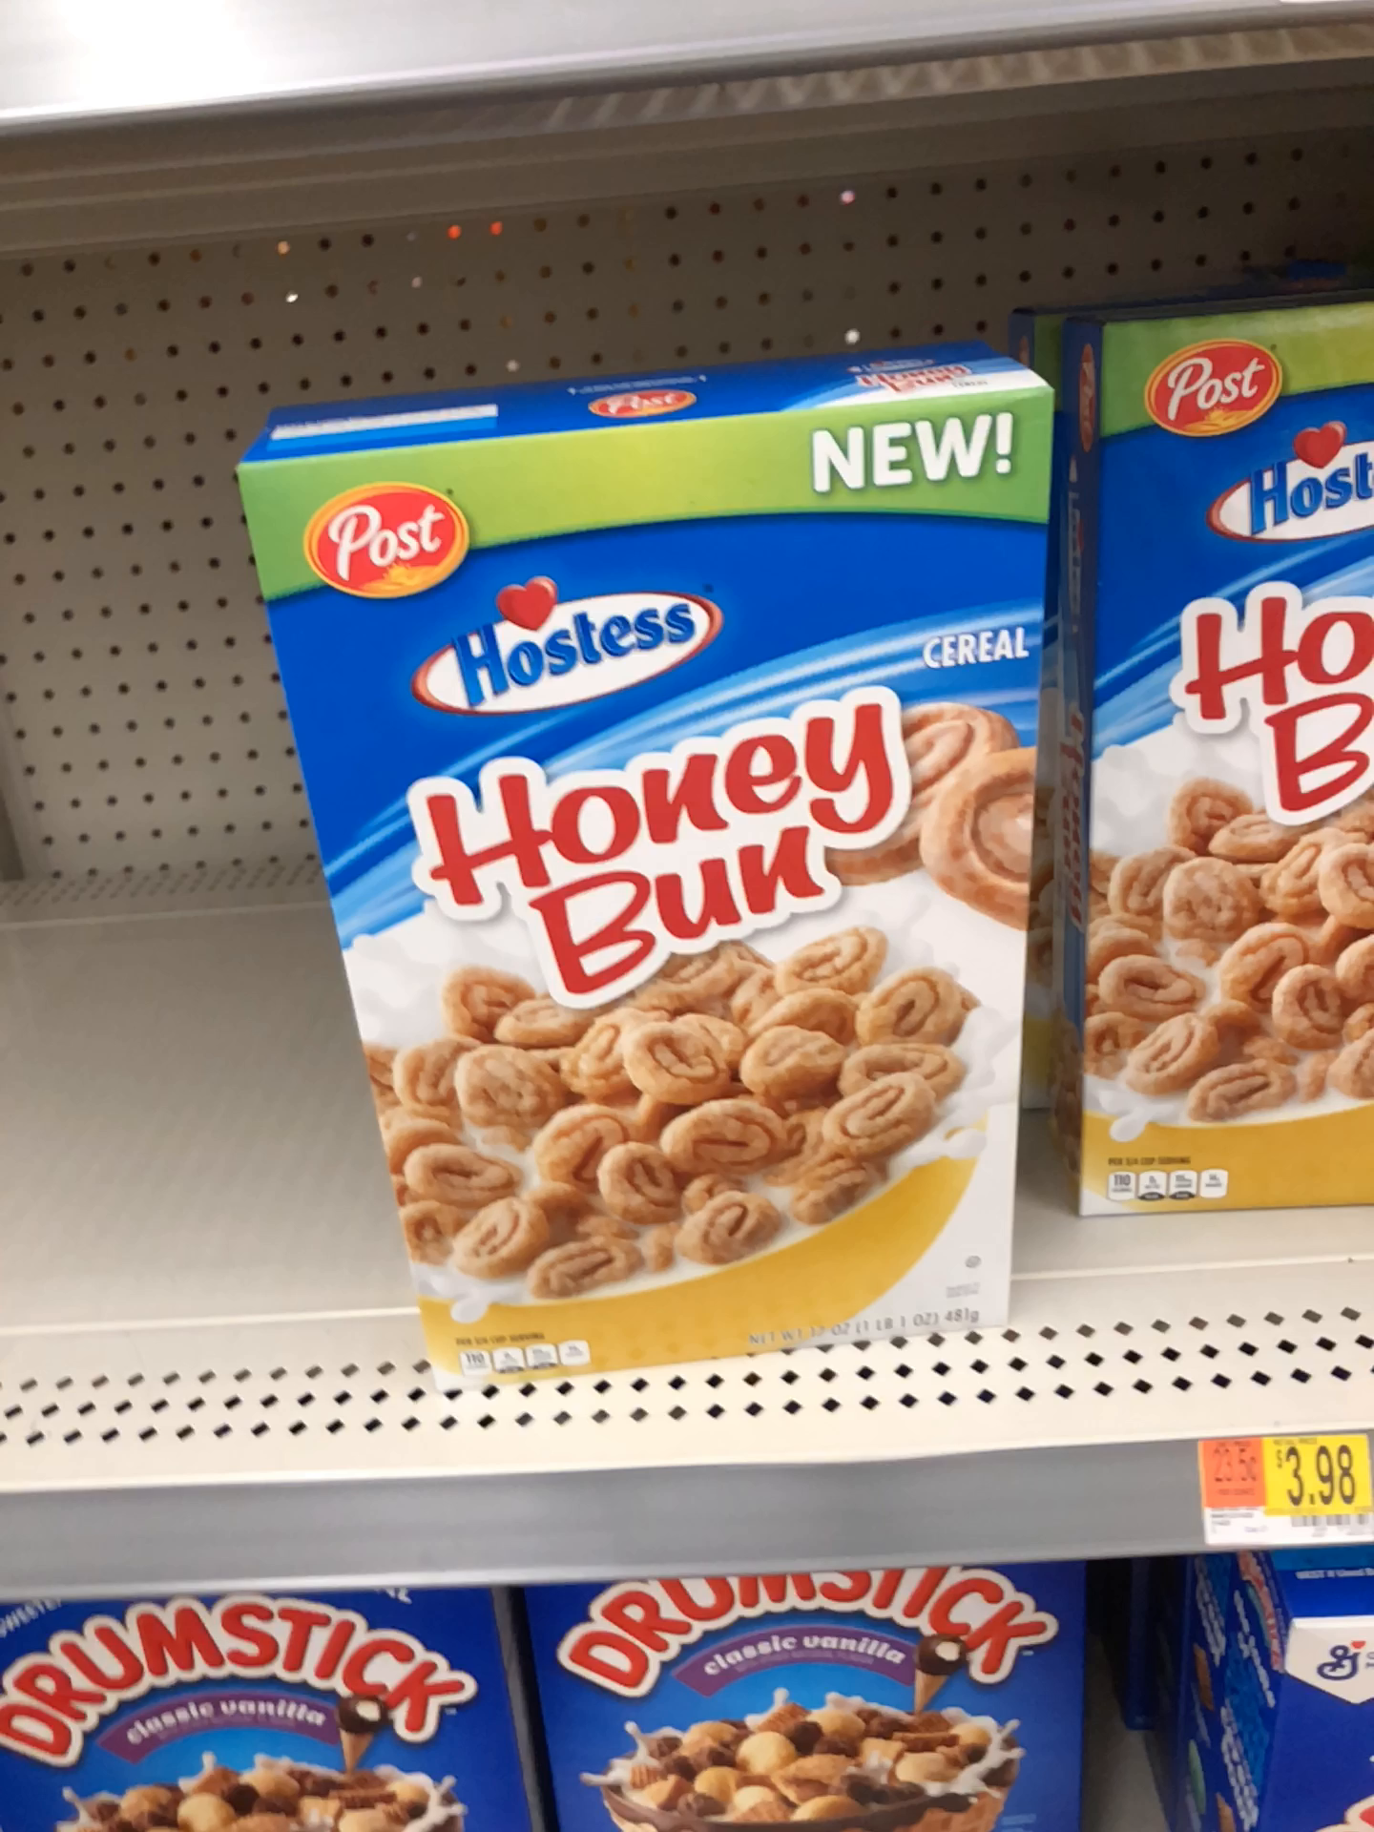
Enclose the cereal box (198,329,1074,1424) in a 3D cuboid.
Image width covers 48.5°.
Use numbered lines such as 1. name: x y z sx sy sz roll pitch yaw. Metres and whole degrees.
1. cereal box: -0.002 0.005 0.448 0.200 0.309 0.060 -6 30 -2
